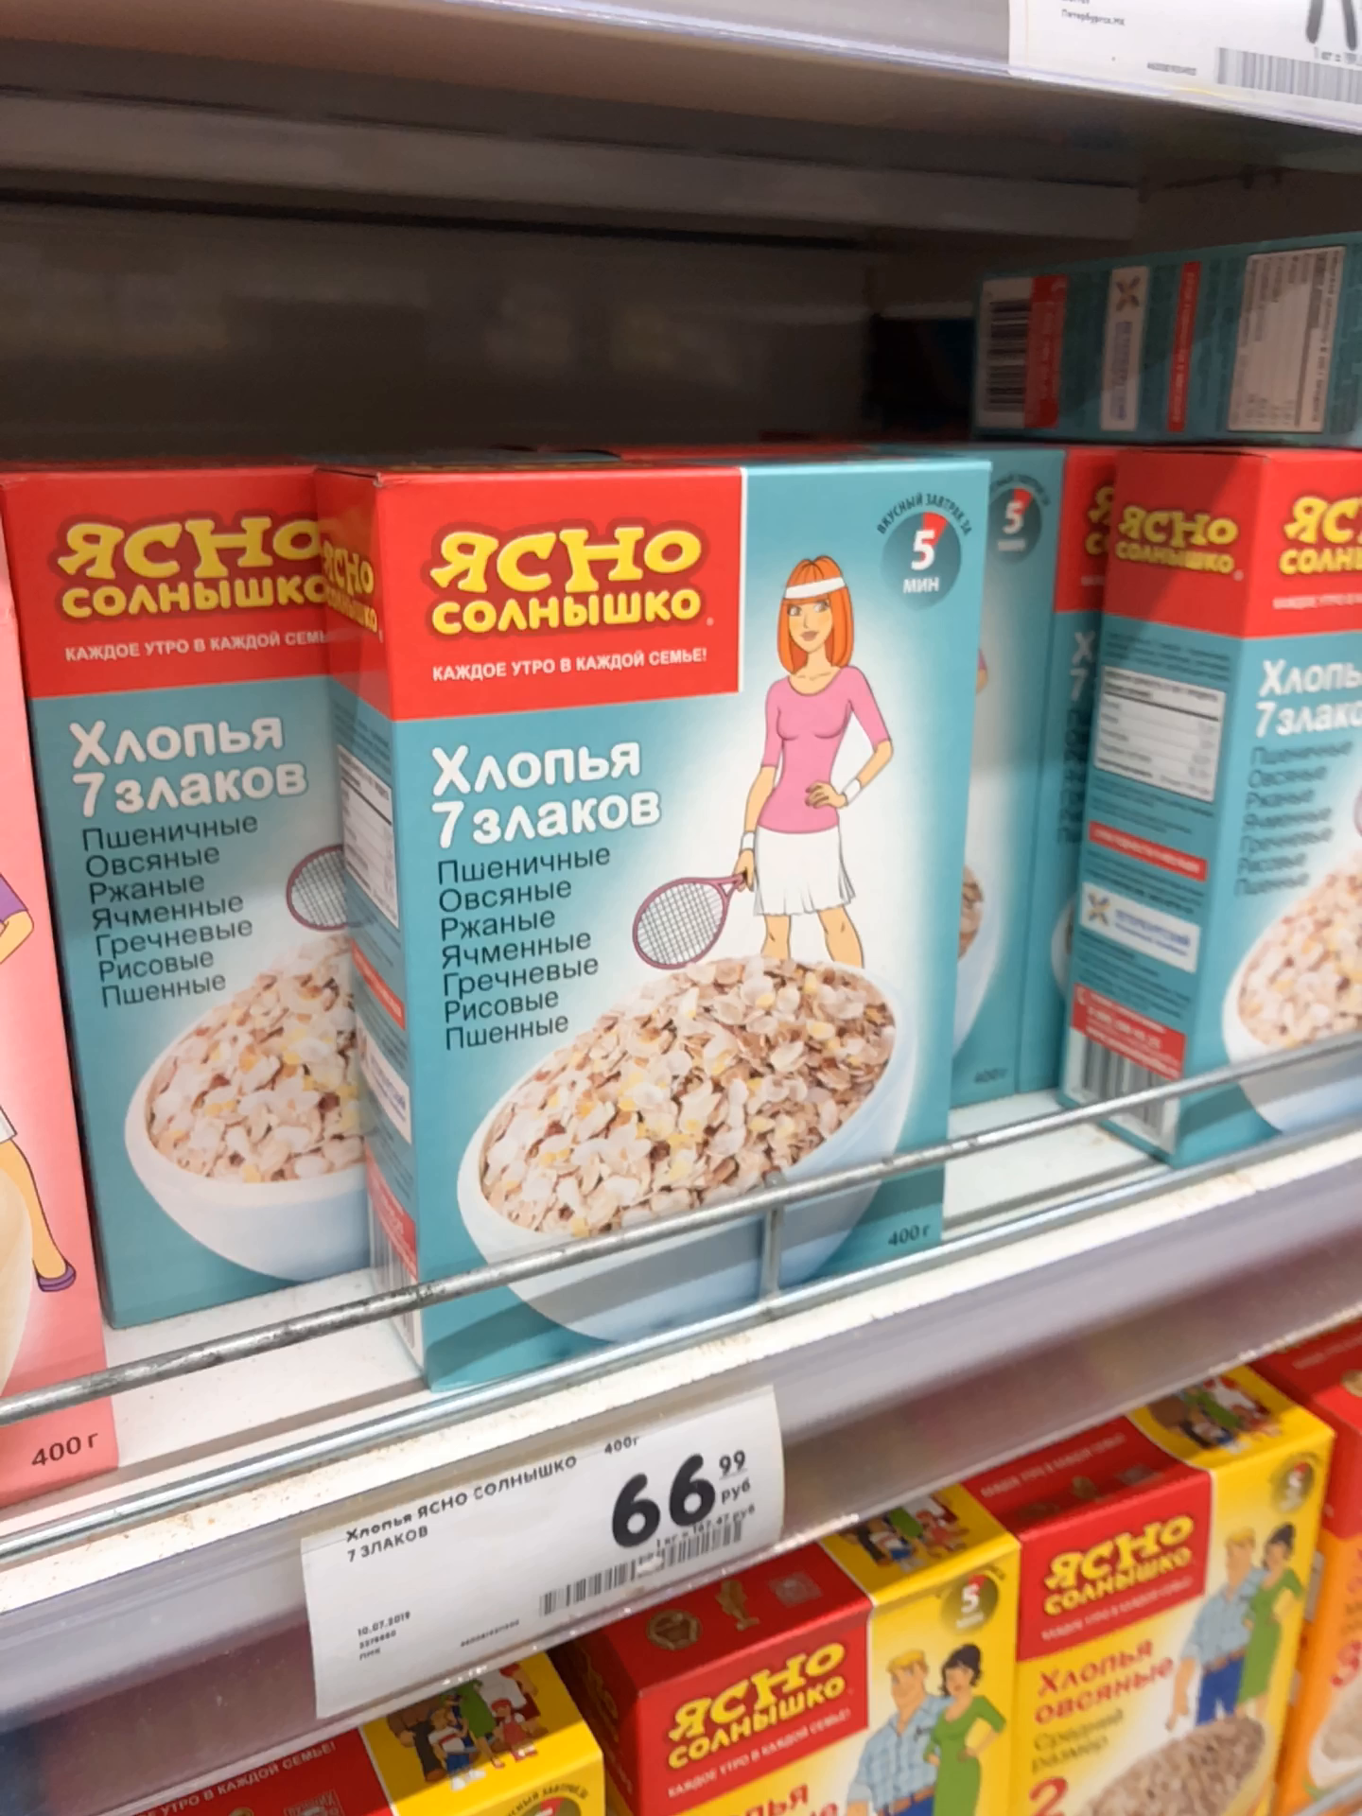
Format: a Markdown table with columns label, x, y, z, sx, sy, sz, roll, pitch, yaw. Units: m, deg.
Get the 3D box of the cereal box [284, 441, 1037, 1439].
| label | x | y | z | sx | sy | sz | roll | pitch | yaw |
| --- | --- | --- | --- | --- | --- | --- | --- | --- | --- |
| cereal box | -0.002 | 0.000 | 0.328 | 0.140 | 0.189 | 0.050 | -9 | 20 | -25 |
